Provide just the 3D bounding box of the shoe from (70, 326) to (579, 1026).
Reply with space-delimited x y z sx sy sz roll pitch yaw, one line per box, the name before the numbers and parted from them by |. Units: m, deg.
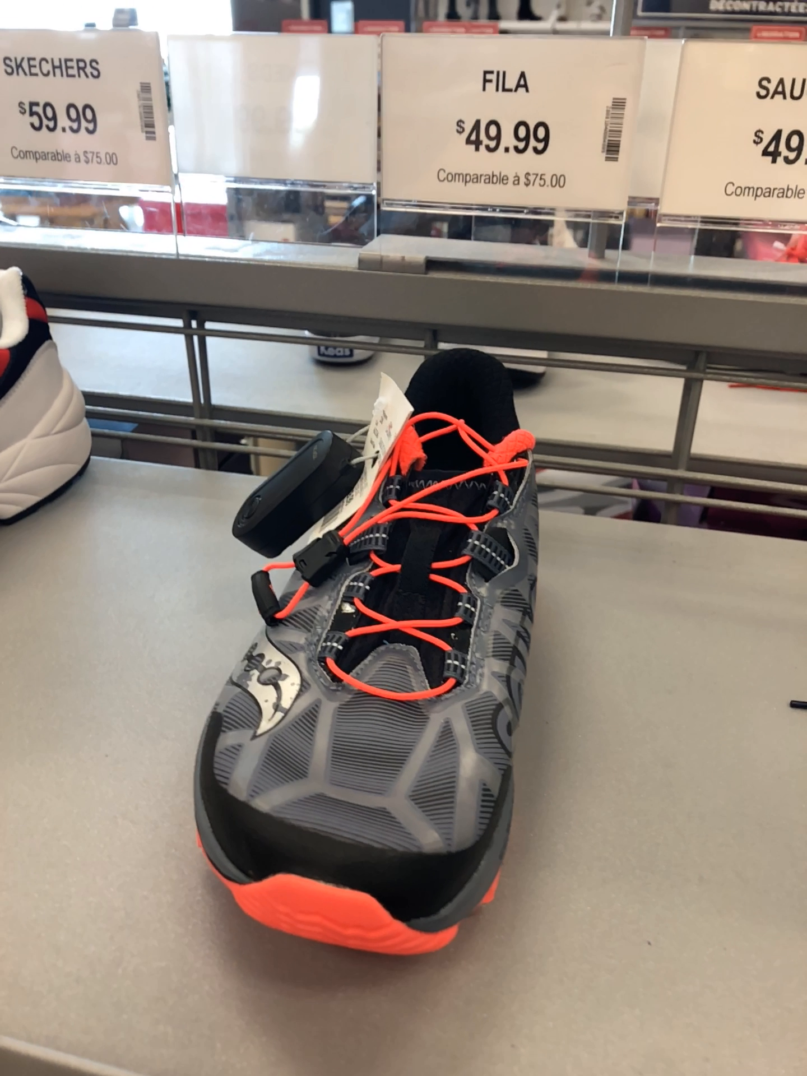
shoe | 0.003 0.012 0.356 0.110 0.109 0.292 6 29 10
